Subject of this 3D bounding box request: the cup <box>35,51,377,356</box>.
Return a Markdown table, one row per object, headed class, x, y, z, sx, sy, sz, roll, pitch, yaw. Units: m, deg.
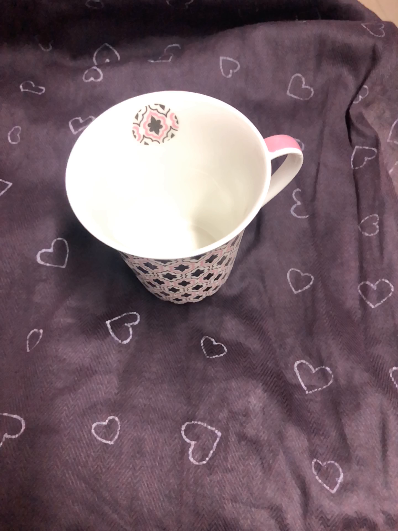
| class | x | y | z | sx | sy | sz | roll | pitch | yaw |
| --- | --- | --- | --- | --- | --- | --- | --- | --- | --- |
| cup | 0.000 | -0.030 | 0.227 | 0.120 | 0.080 | 0.090 | -22 | 65 | -11 |
